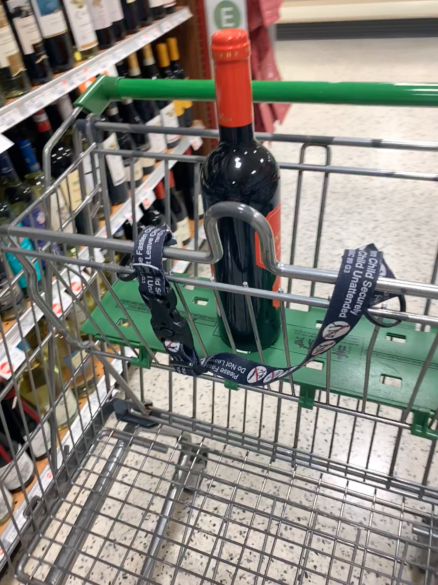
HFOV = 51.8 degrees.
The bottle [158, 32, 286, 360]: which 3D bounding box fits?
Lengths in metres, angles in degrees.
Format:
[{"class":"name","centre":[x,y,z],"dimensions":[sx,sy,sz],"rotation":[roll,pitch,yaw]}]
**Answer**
[{"class":"bottle","centre":[0.019,-0.070,0.432],"dimensions":[0.080,0.297,0.081],"rotation":[-4,40,3]}]
